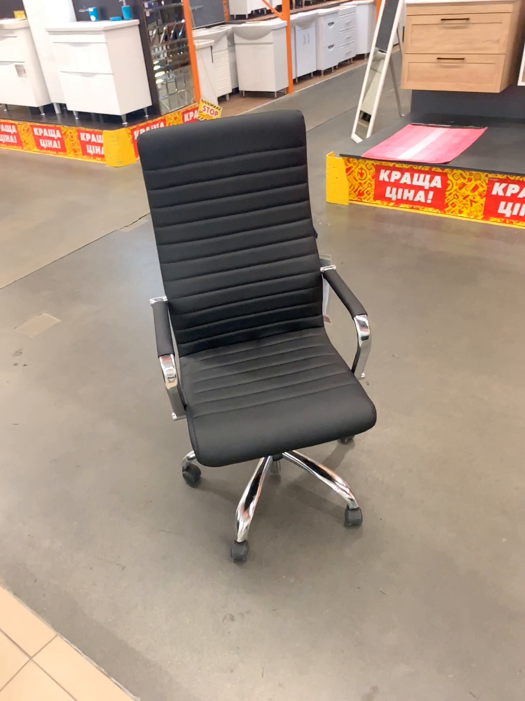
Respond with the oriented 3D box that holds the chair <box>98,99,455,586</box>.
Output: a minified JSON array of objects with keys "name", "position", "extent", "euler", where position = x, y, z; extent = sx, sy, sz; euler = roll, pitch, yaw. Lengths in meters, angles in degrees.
[{"name":"chair","position":[0.004,-0.030,1.521],"extent":[0.650,1.074,0.684],"euler":[-12,35,-9]}]
